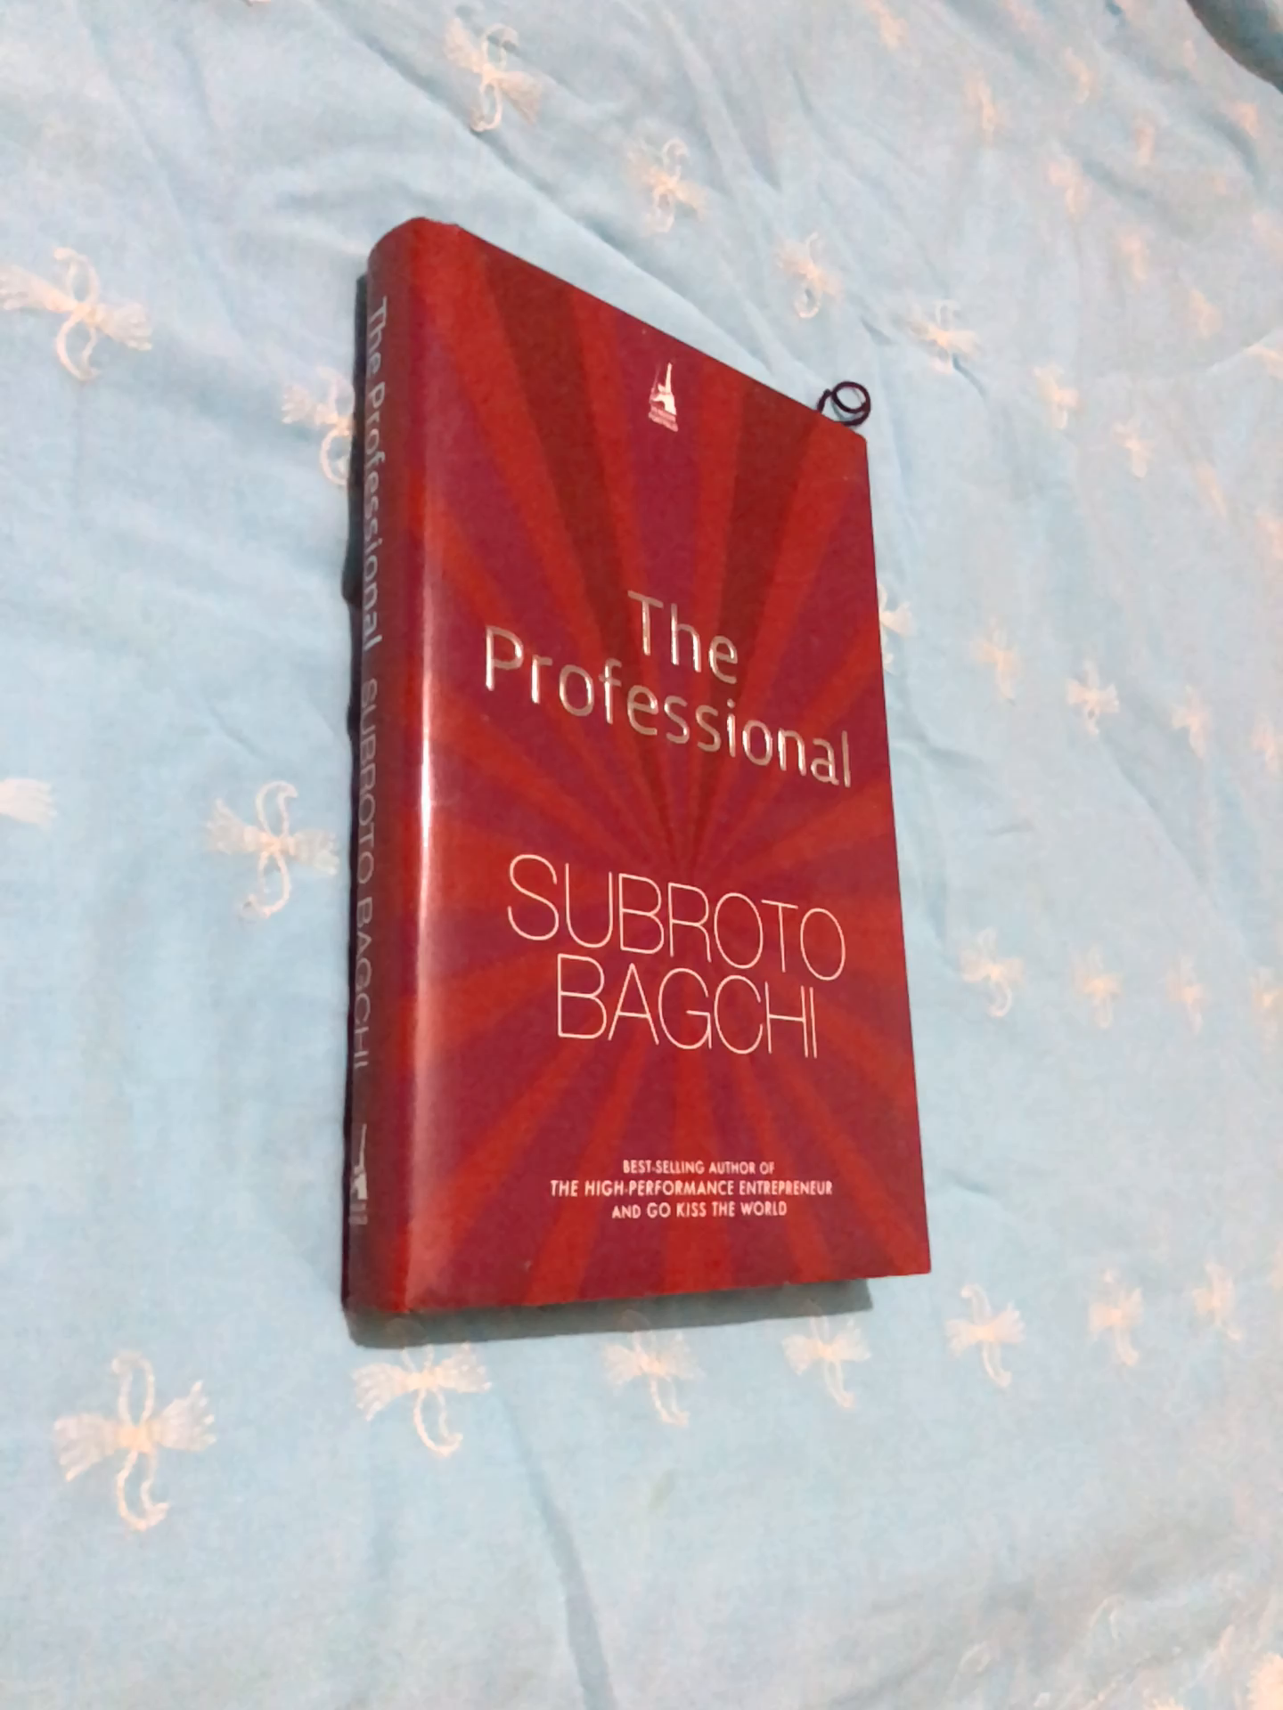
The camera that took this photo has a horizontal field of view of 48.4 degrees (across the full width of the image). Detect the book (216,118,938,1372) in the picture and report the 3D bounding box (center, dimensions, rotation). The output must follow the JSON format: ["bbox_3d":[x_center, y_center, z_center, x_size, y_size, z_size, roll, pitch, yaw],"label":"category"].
[{"bbox_3d":[-0.003,-0.015,0.296,0.151,0.030,0.220,13,70,-40],"label":"book"}]
